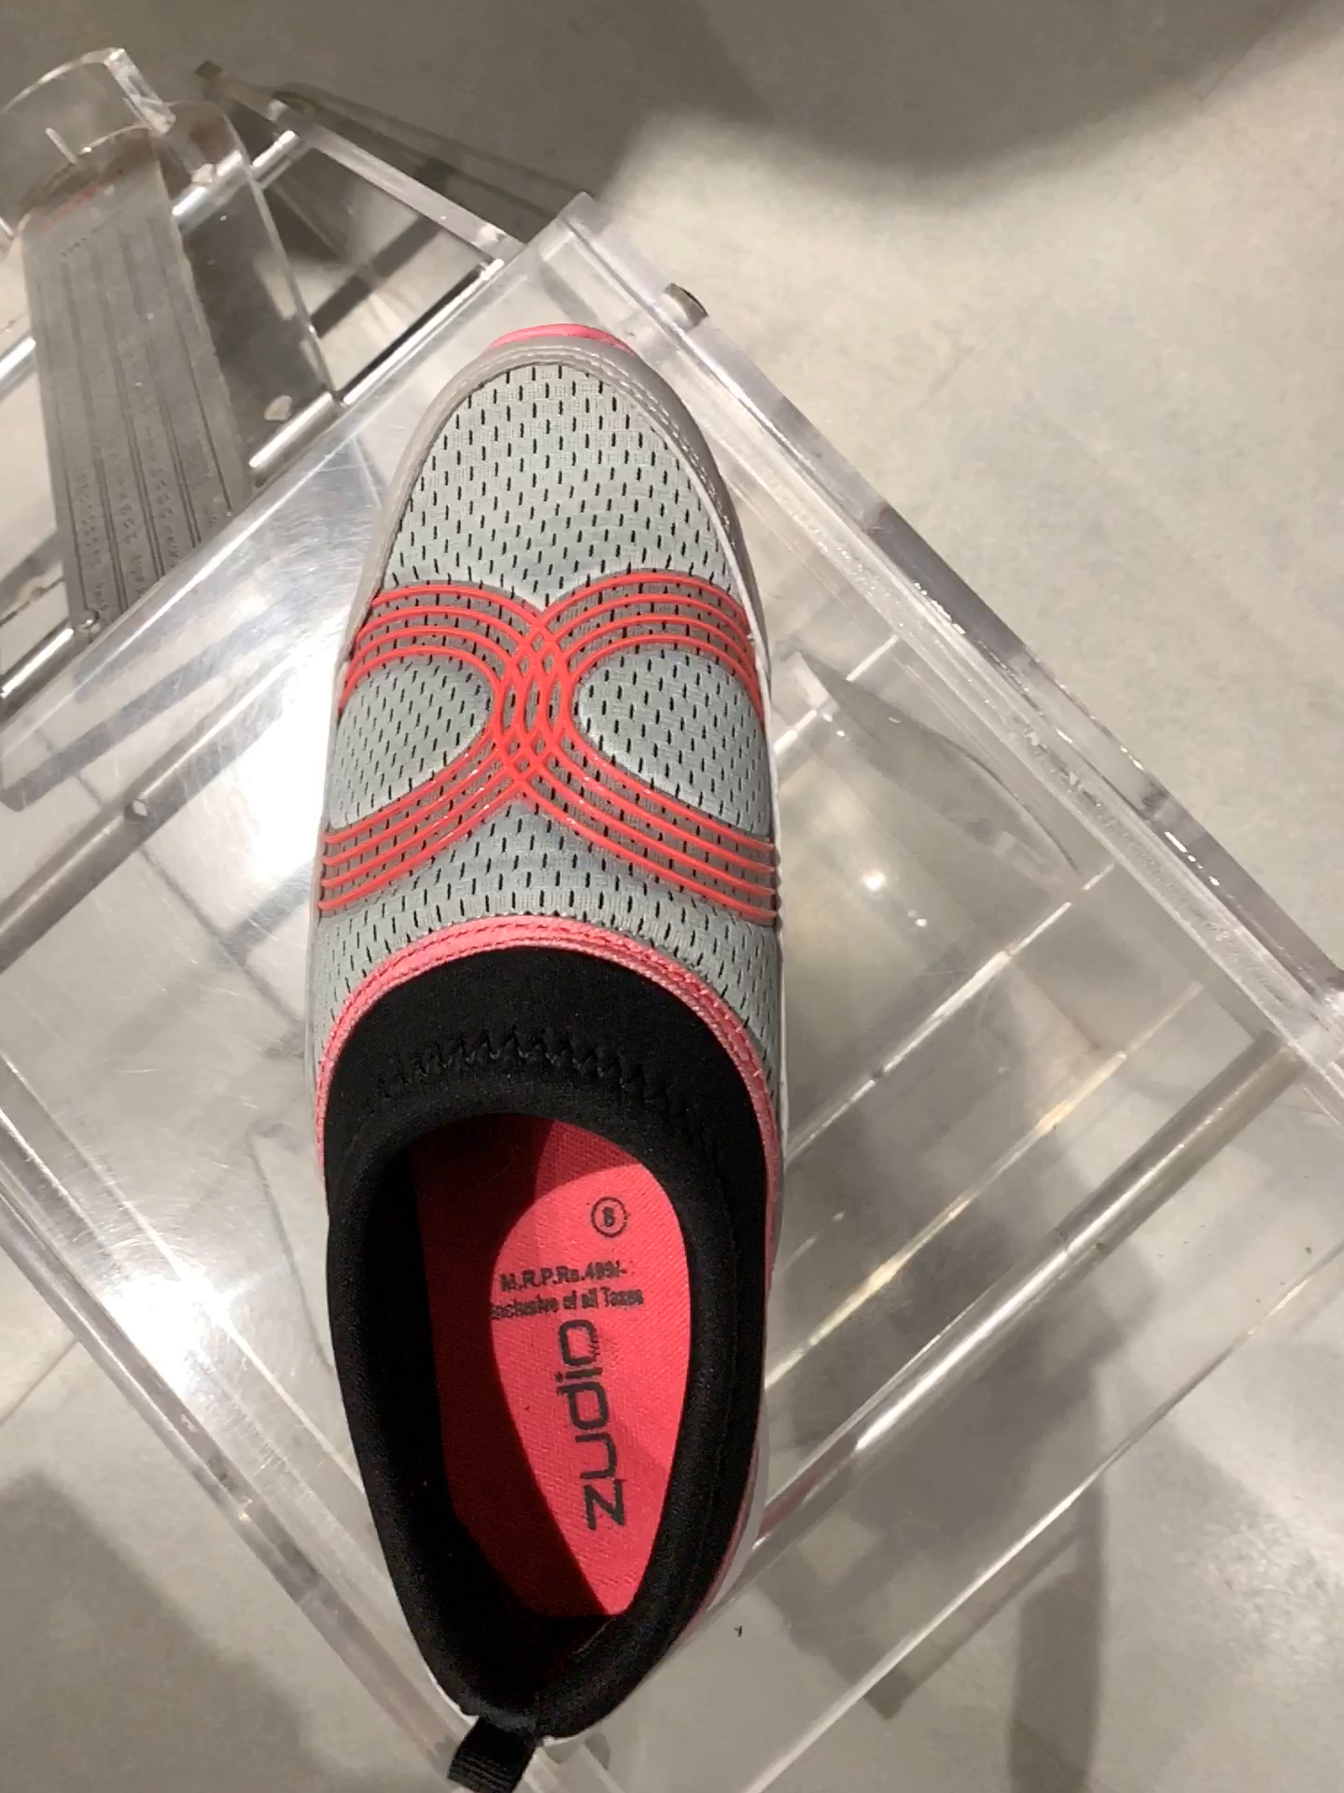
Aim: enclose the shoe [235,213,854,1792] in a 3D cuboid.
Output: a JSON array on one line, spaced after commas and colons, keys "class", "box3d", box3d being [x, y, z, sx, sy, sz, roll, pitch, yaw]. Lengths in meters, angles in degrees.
[{"class": "shoe", "box3d": [-0.025, 0.022, 0.300, 0.100, 0.080, 0.300, -4, 85, 2]}]
